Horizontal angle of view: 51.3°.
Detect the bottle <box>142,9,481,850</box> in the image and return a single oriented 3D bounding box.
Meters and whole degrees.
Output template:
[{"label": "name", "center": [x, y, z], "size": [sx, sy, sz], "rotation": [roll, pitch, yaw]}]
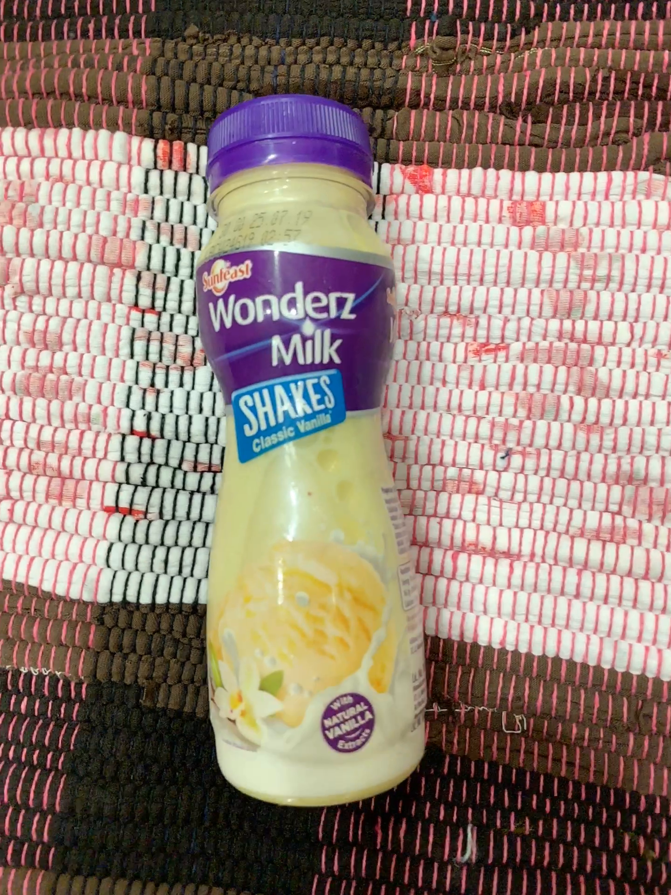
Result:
[{"label": "bottle", "center": [-0.002, -0.002, 0.162], "size": [0.060, 0.050, 0.160], "rotation": [-3, 89, 10]}]
